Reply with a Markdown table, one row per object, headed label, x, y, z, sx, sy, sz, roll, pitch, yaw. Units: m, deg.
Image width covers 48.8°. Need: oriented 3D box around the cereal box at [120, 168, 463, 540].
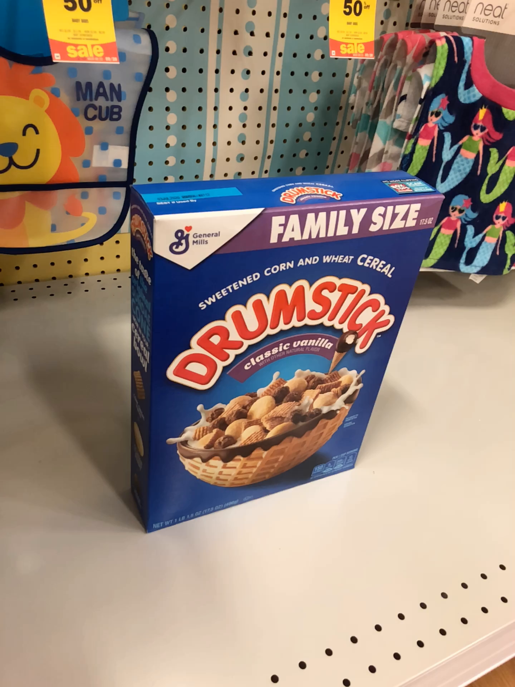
| label | x | y | z | sx | sy | sz | roll | pitch | yaw |
| --- | --- | --- | --- | --- | --- | --- | --- | --- | --- |
| cereal box | 0.017 | 0.012 | 0.498 | 0.250 | 0.299 | 0.070 | -11 | 39 | -25 |
